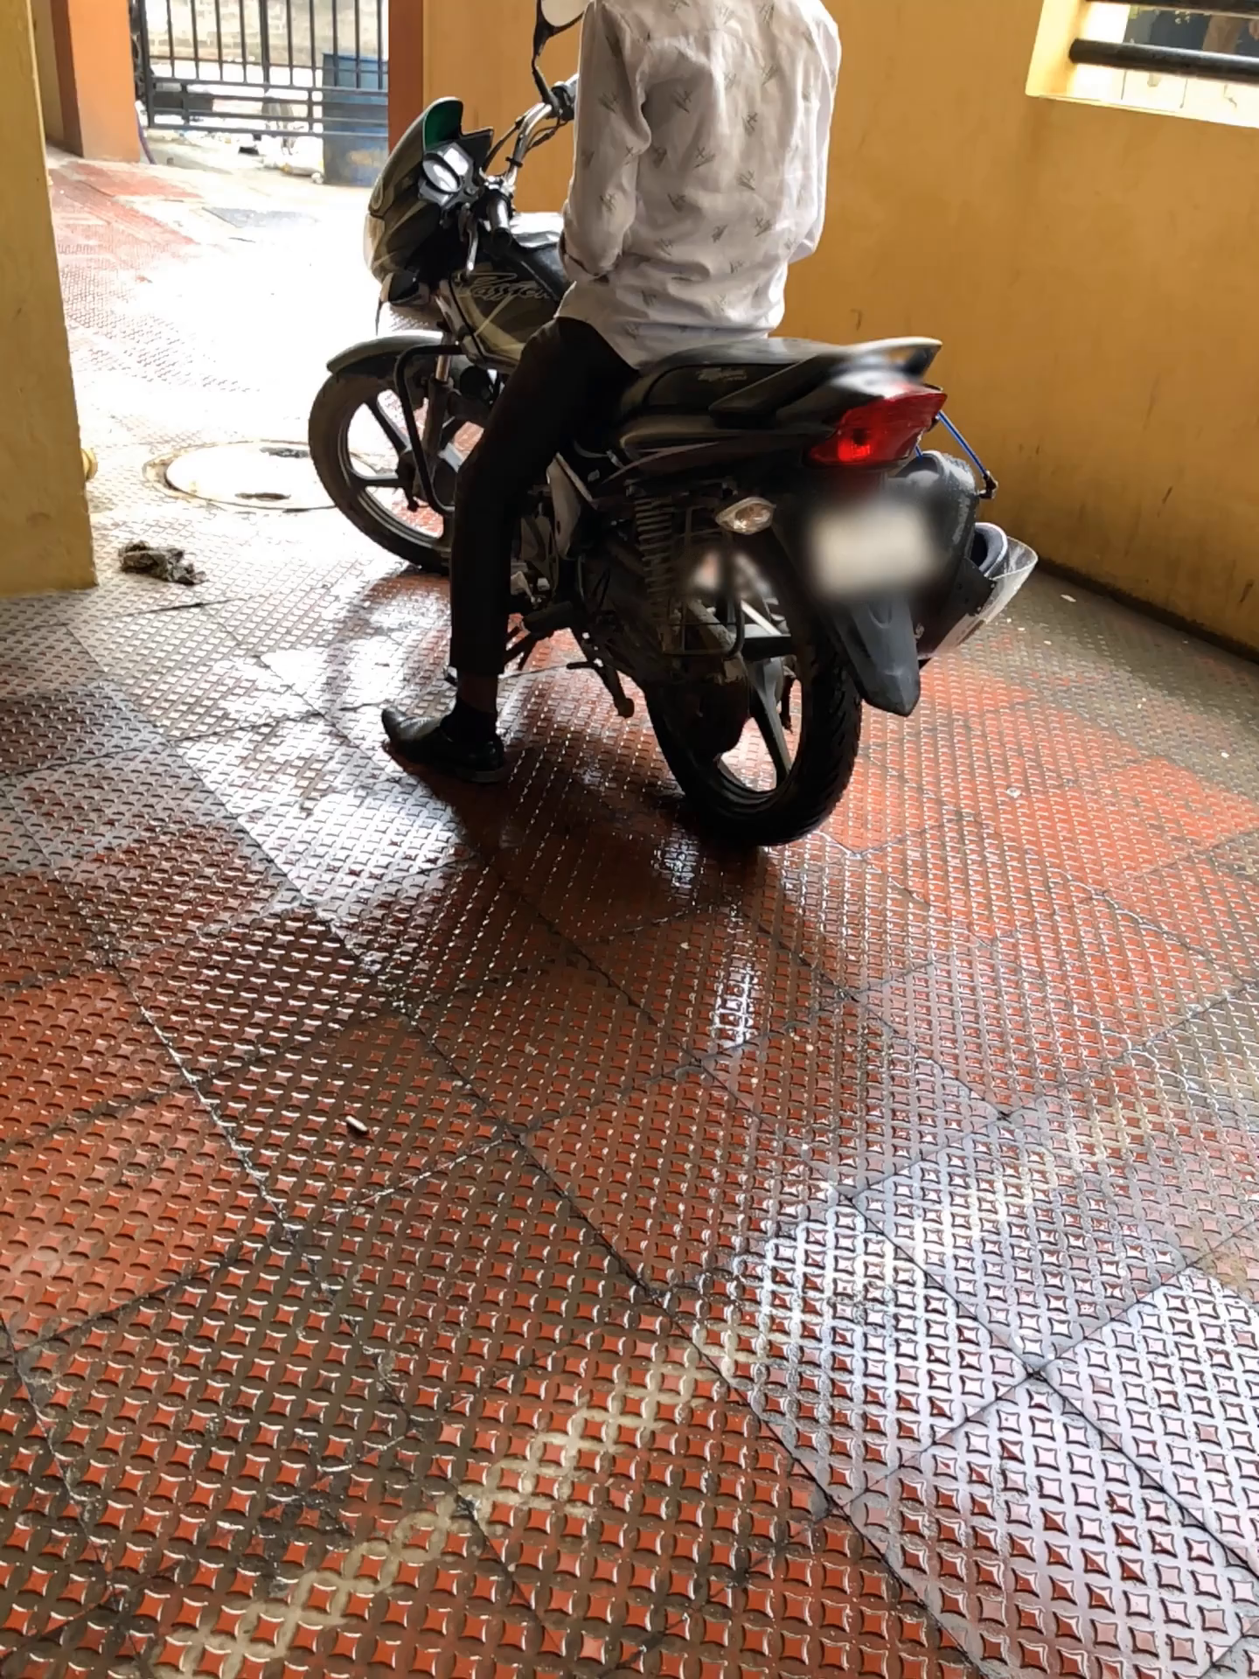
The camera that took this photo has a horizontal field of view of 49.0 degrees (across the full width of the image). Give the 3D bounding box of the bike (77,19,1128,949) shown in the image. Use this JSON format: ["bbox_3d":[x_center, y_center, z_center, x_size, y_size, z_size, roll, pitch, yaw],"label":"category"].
[{"bbox_3d":[-0.250,-0.840,2.727,0.812,1.184,1.880,-18,38,-33],"label":"bike"}]
